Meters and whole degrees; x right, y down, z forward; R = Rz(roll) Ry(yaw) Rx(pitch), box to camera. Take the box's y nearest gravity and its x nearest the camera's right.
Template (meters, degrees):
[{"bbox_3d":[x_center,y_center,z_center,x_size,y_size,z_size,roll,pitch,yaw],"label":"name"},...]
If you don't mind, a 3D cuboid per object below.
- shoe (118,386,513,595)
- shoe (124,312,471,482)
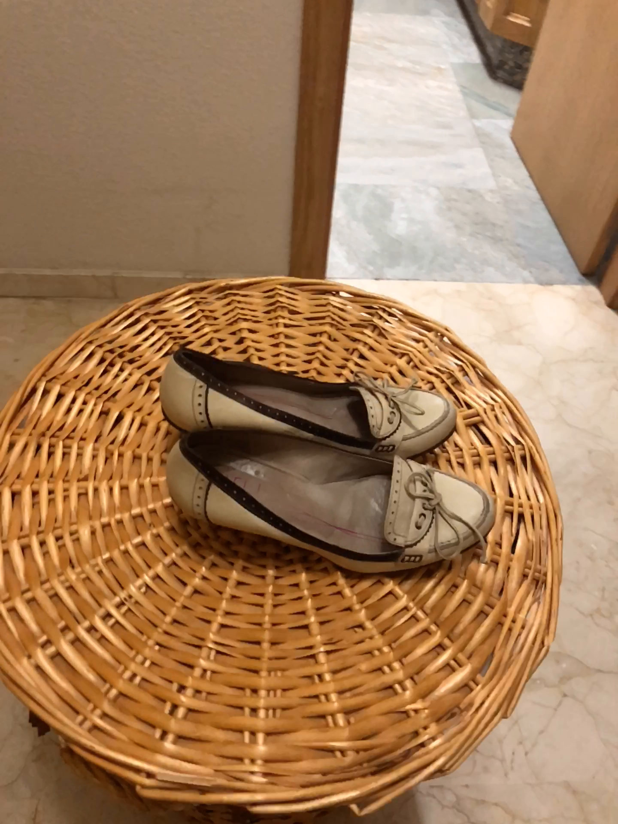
[{"bbox_3d":[0.004,0.063,0.523,0.260,0.110,0.100,4,53,-1],"label":"shoe"},{"bbox_3d":[-0.012,-0.013,0.576,0.260,0.090,0.100,-2,54,-6],"label":"shoe"}]
